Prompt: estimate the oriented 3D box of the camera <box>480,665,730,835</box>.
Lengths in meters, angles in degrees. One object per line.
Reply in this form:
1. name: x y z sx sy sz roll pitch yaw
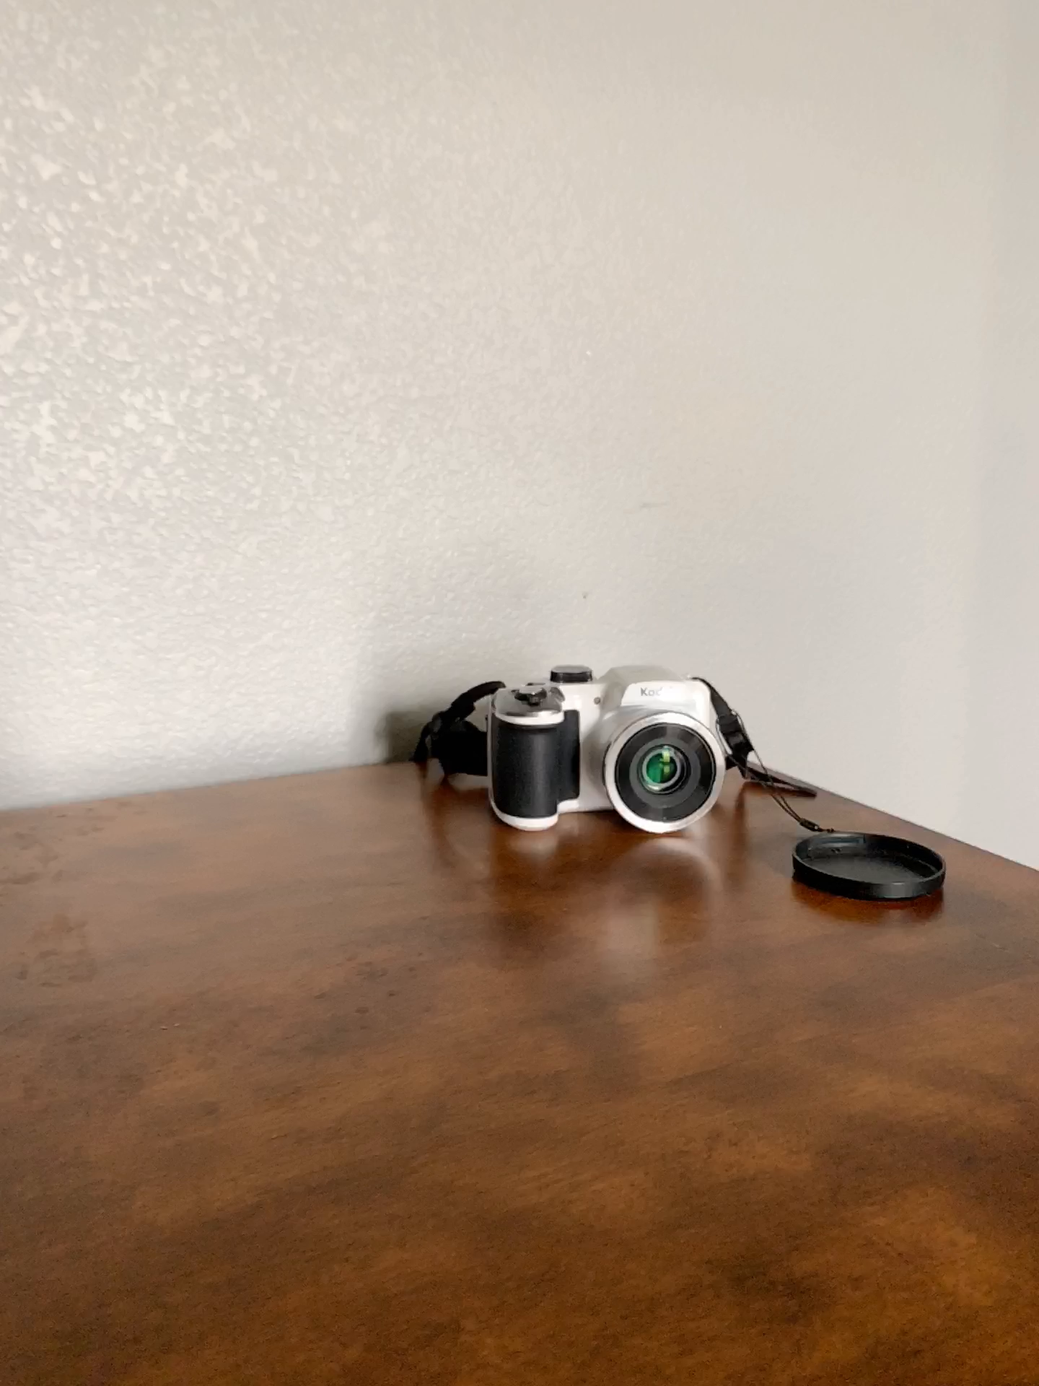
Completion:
1. camera: 0.042 0.027 0.555 0.119 0.071 0.070 -1 10 1
